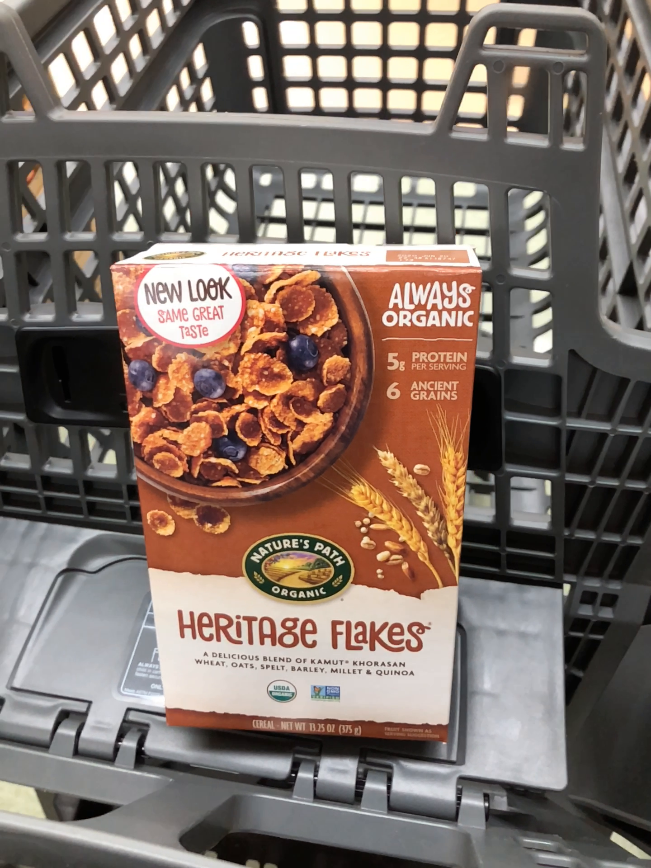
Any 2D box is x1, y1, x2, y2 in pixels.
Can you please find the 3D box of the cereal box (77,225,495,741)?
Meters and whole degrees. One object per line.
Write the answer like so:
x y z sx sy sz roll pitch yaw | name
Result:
-0.013 0.028 0.364 0.170 0.250 0.060 1 21 6 | cereal box
